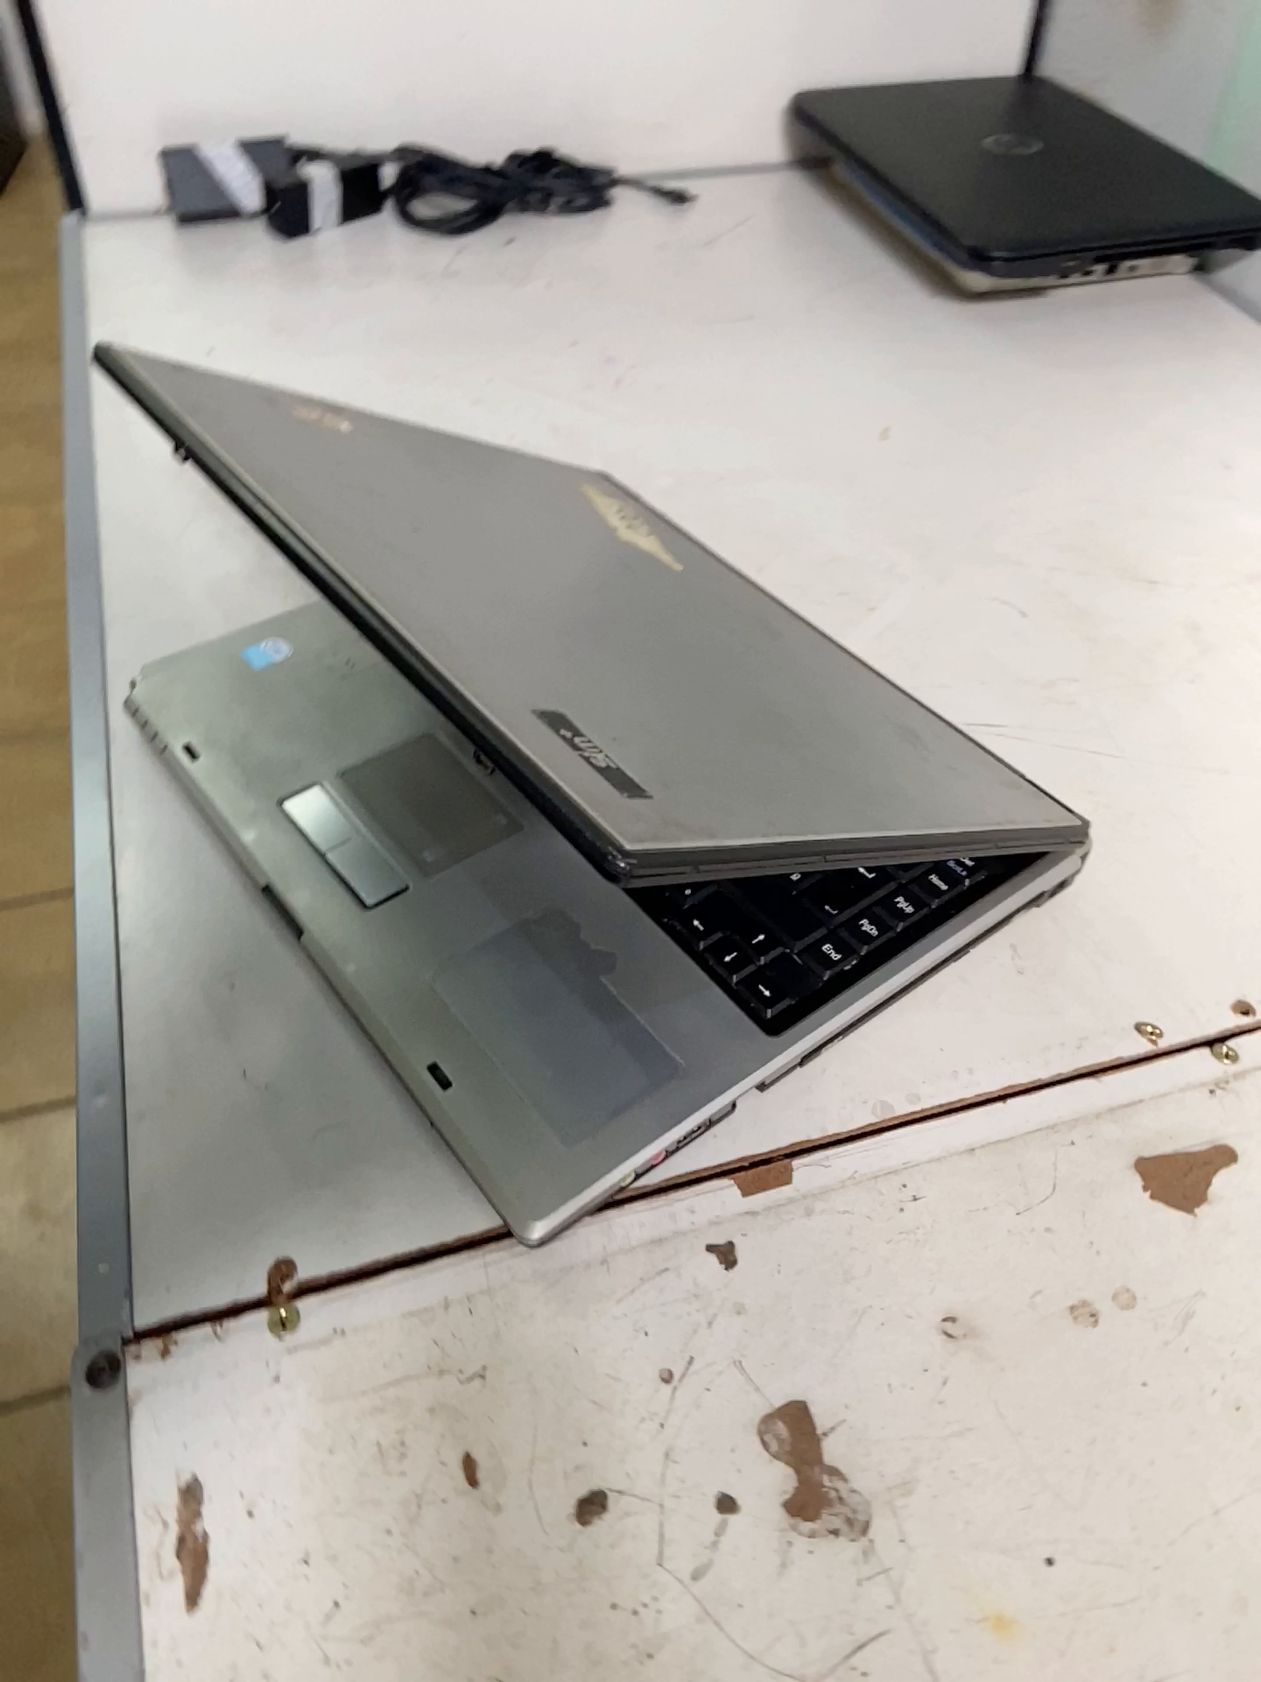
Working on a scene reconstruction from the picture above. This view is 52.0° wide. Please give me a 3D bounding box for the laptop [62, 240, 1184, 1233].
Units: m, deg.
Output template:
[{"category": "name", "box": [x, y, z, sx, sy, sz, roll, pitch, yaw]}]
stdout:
[{"category": "laptop", "box": [-0.021, -0.078, 0.484, 0.254, 0.130, 0.318, -27, 51, -25]}]
